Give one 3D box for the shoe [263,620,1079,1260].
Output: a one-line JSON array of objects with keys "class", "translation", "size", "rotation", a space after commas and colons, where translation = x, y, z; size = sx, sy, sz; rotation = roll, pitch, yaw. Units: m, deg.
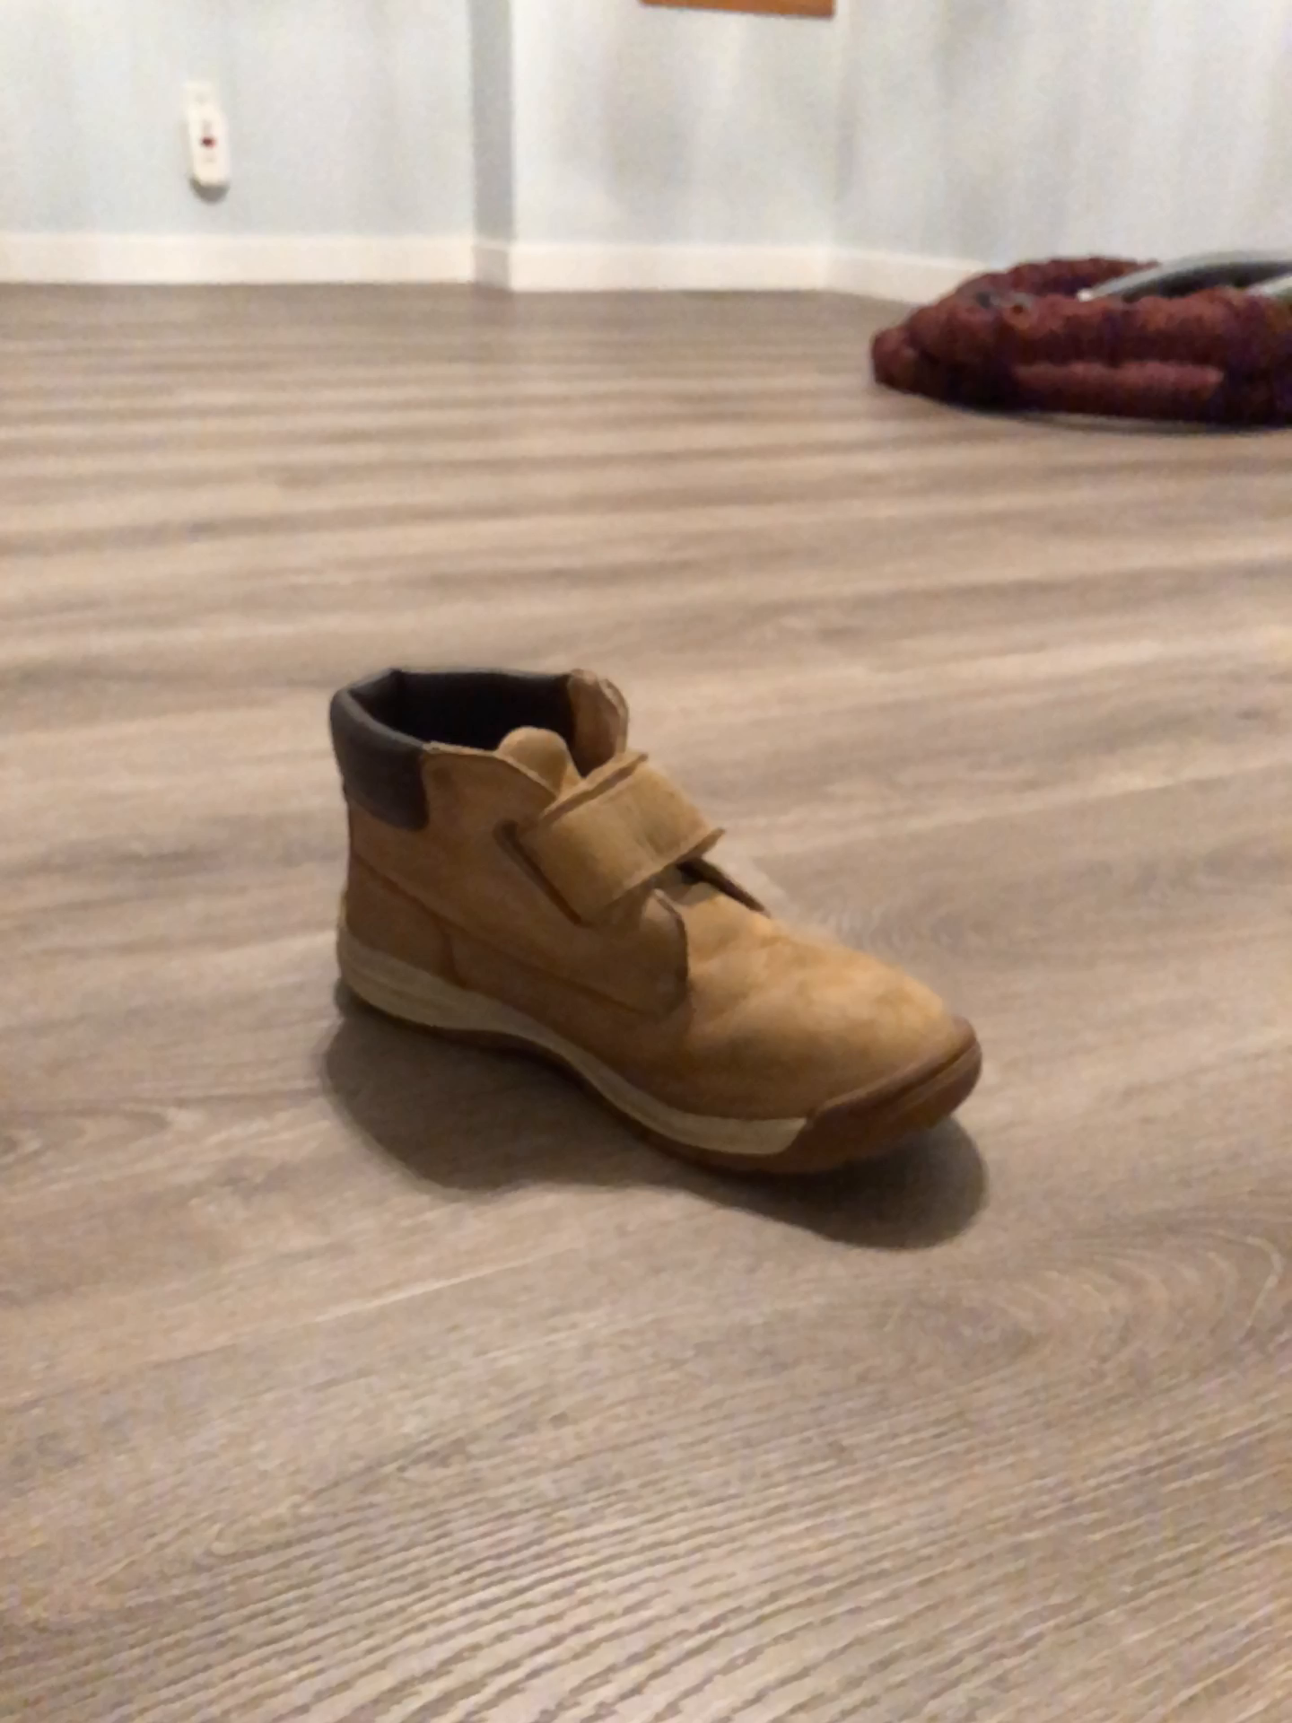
[{"class": "shoe", "translation": [0.001, 0.008, 0.405], "size": [0.200, 0.100, 0.090], "rotation": [17, 29, 30]}]
